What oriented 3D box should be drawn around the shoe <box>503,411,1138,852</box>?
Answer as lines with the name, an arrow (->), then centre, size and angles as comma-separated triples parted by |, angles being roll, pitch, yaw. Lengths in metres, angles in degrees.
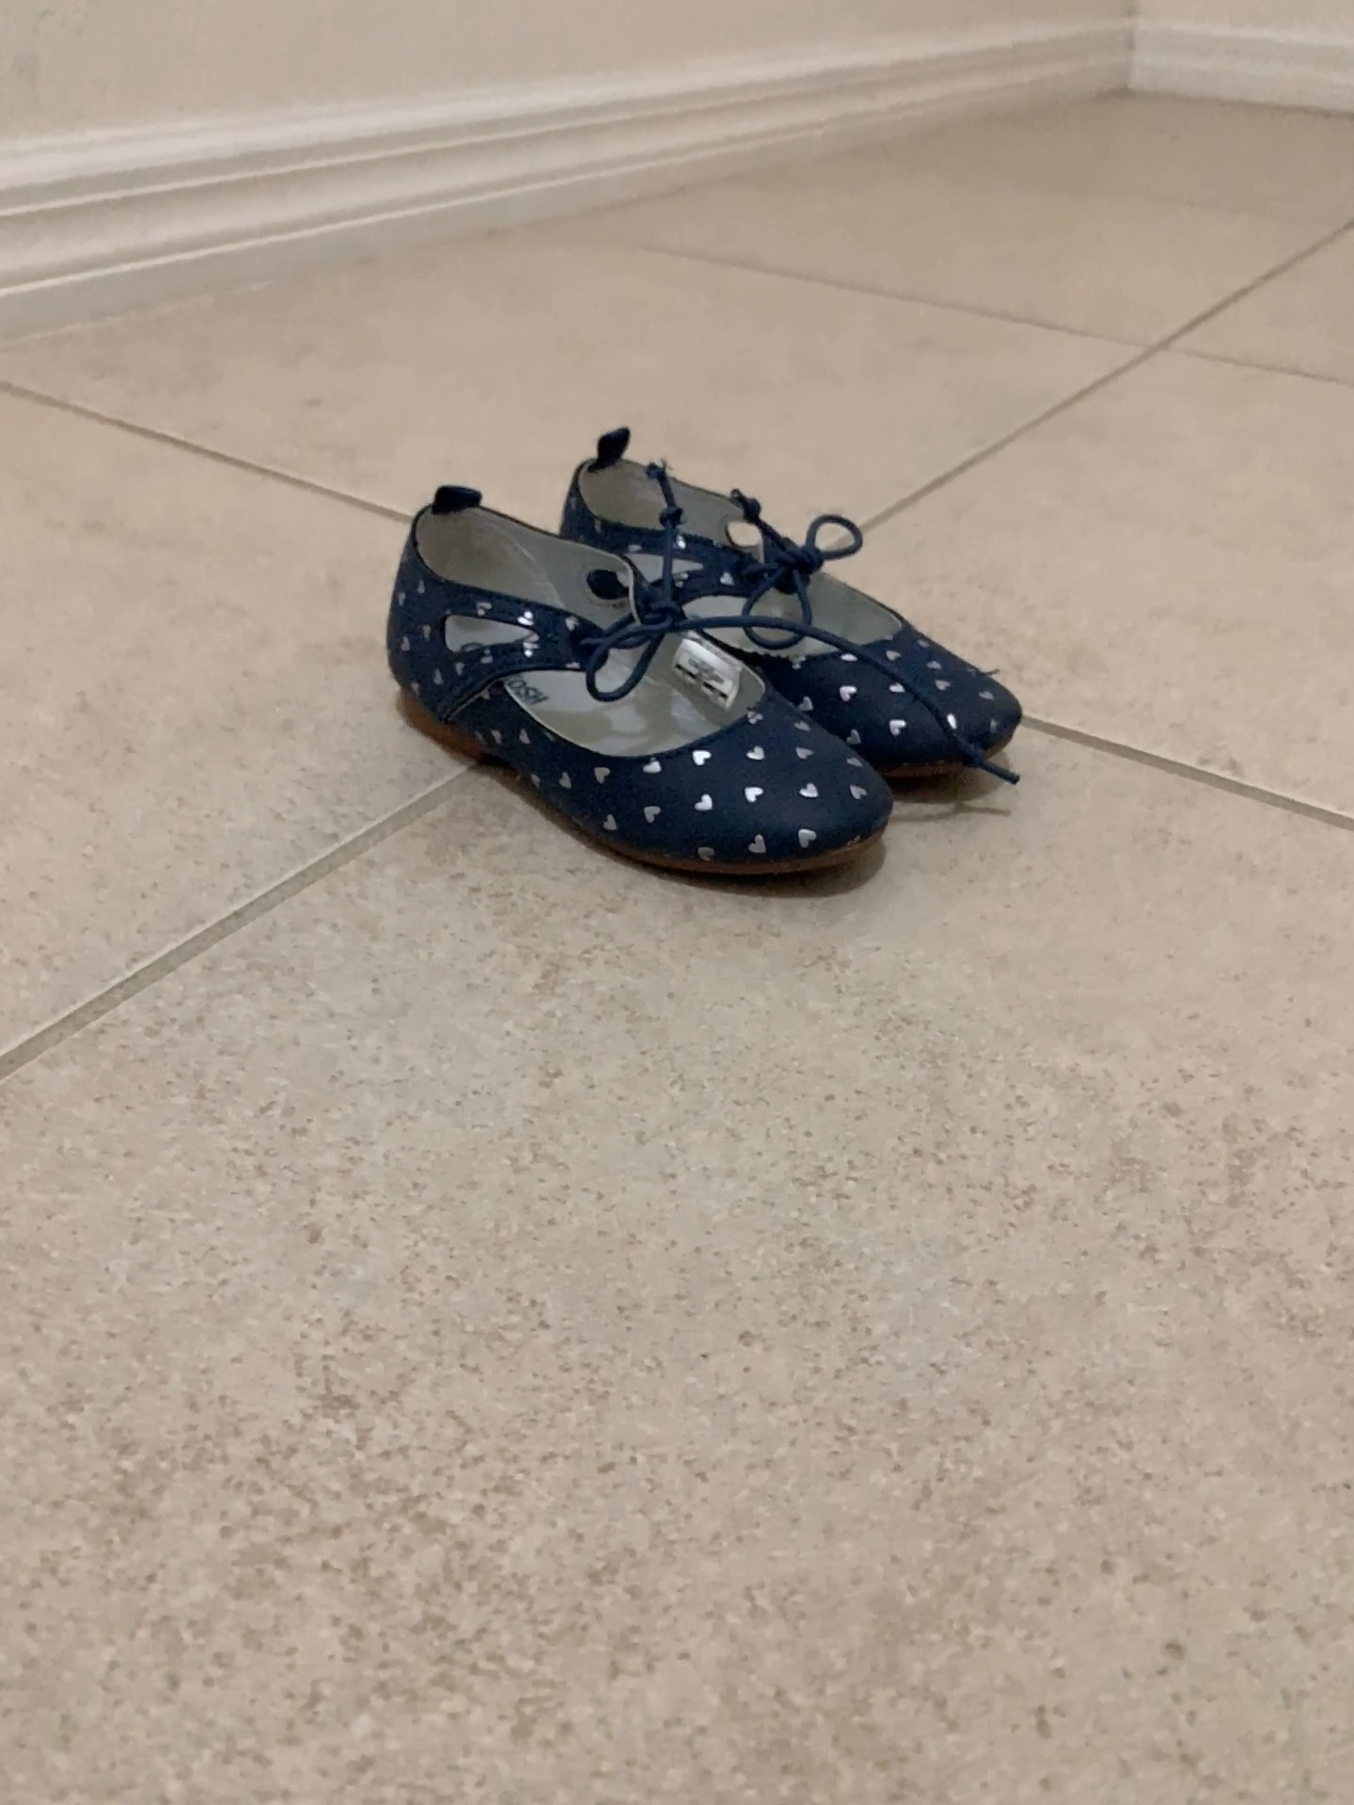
shoe -> 0.035, -0.088, 0.416 | 0.171, 0.061, 0.071 | 27, 43, 30

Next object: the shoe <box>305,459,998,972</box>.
shoe -> -0.013, -0.058, 0.373 | 0.171, 0.061, 0.071 | 27, 43, 30
